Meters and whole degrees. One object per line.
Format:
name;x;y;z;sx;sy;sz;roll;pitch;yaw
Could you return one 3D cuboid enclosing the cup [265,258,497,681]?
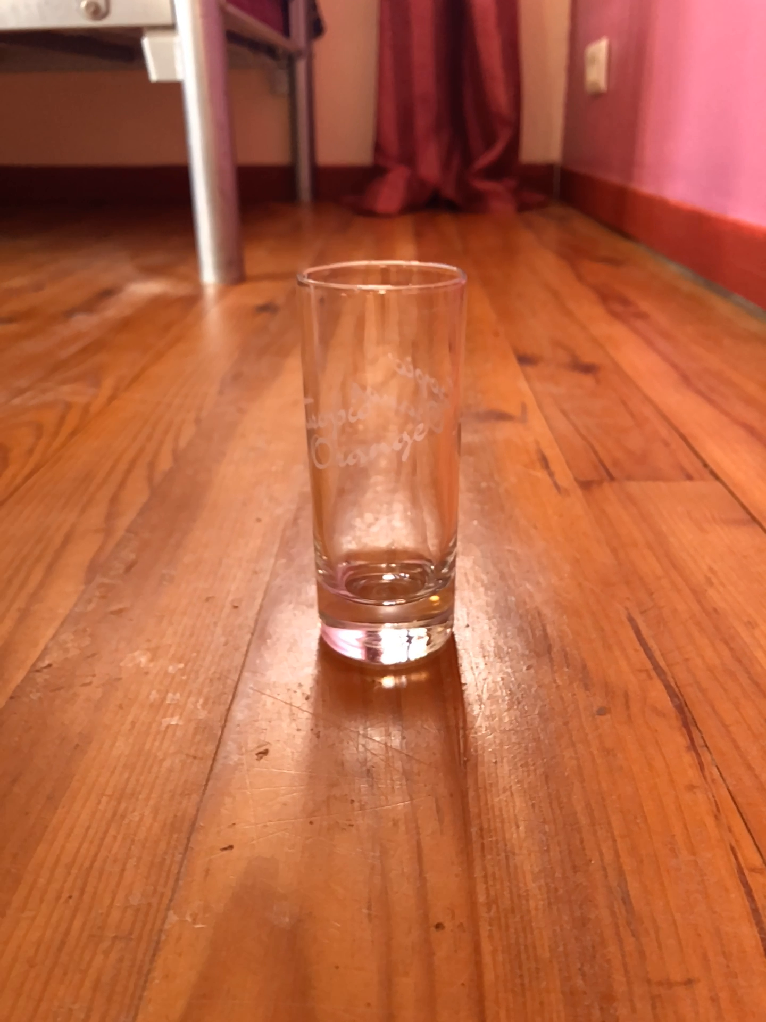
cup;0.003;-0.016;0.284;0.056;0.124;0.056;-1;22;1
